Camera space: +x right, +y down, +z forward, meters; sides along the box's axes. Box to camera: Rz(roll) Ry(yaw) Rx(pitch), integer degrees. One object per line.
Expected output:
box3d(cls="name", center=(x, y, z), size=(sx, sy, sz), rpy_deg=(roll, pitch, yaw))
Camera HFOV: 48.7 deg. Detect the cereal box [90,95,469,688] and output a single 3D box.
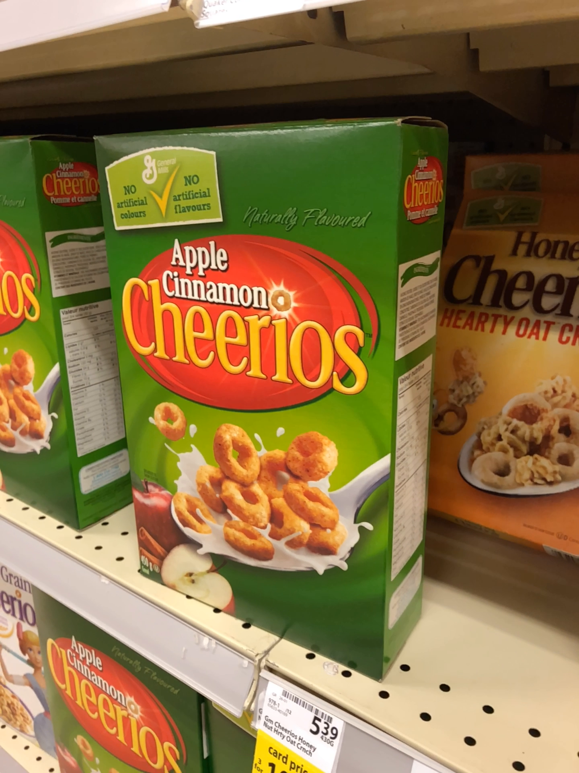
box3d(cls="cereal box", center=(-0.011, -0.002, 0.395), size=(0.200, 0.308, 0.070), rpy_deg=(11, 22, 31))
